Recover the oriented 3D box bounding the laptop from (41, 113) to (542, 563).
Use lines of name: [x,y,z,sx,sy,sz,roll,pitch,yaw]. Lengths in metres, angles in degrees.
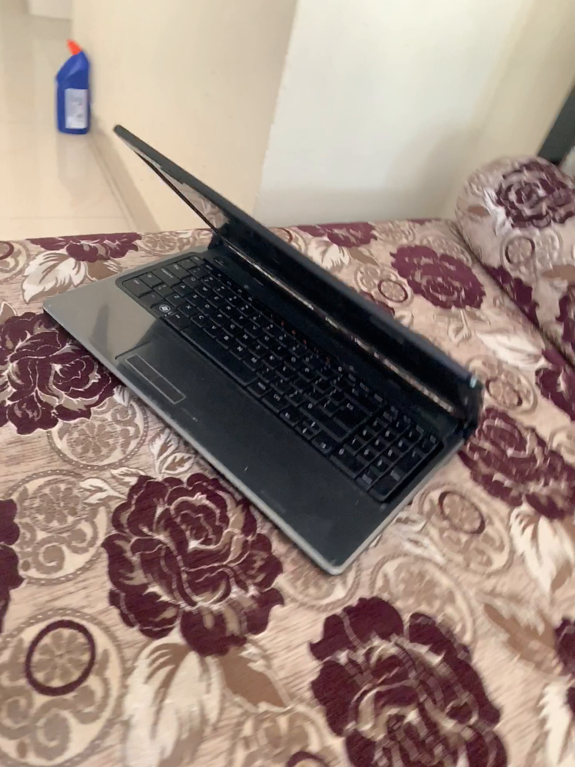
laptop: [-0.012,-0.075,0.523,0.364,0.154,0.221,38,45,22]
